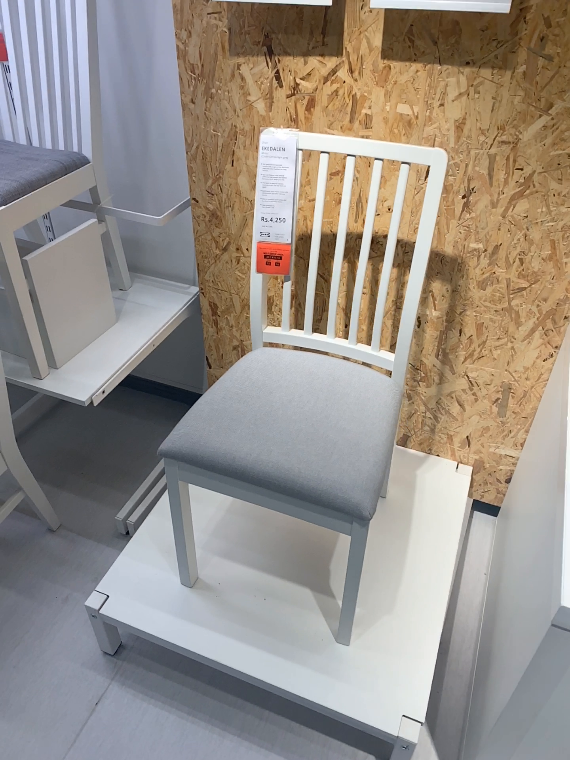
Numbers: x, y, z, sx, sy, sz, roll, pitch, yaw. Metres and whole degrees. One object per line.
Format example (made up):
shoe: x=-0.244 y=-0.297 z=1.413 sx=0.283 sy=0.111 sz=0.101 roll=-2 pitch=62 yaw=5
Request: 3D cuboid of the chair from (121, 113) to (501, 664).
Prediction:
chair: x=0.073 y=0.043 z=1.200 sx=0.450 sy=0.956 sz=0.492 roll=15 pitch=41 yaw=17
